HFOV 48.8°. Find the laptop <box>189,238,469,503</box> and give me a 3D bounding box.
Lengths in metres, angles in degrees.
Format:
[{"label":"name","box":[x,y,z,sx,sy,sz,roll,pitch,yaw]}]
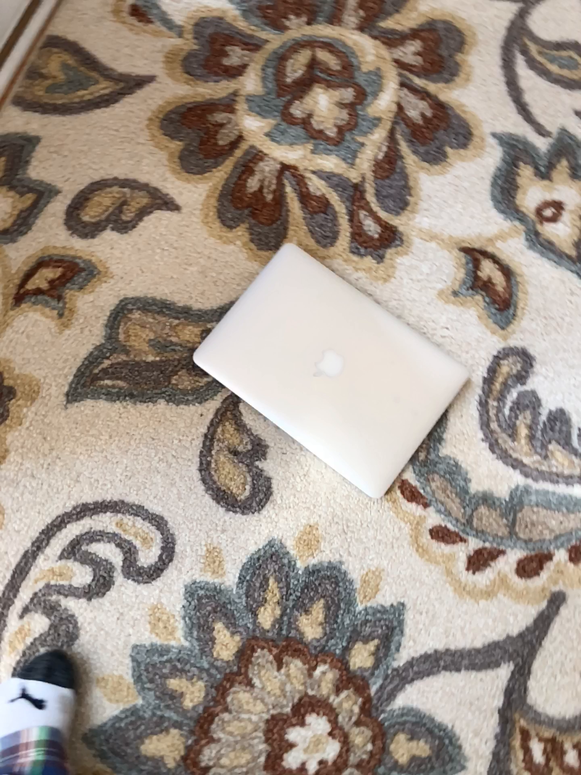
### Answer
[{"label":"laptop","box":[0.050,-0.029,0.816,0.295,0.001,0.207,37,79,6]}]
